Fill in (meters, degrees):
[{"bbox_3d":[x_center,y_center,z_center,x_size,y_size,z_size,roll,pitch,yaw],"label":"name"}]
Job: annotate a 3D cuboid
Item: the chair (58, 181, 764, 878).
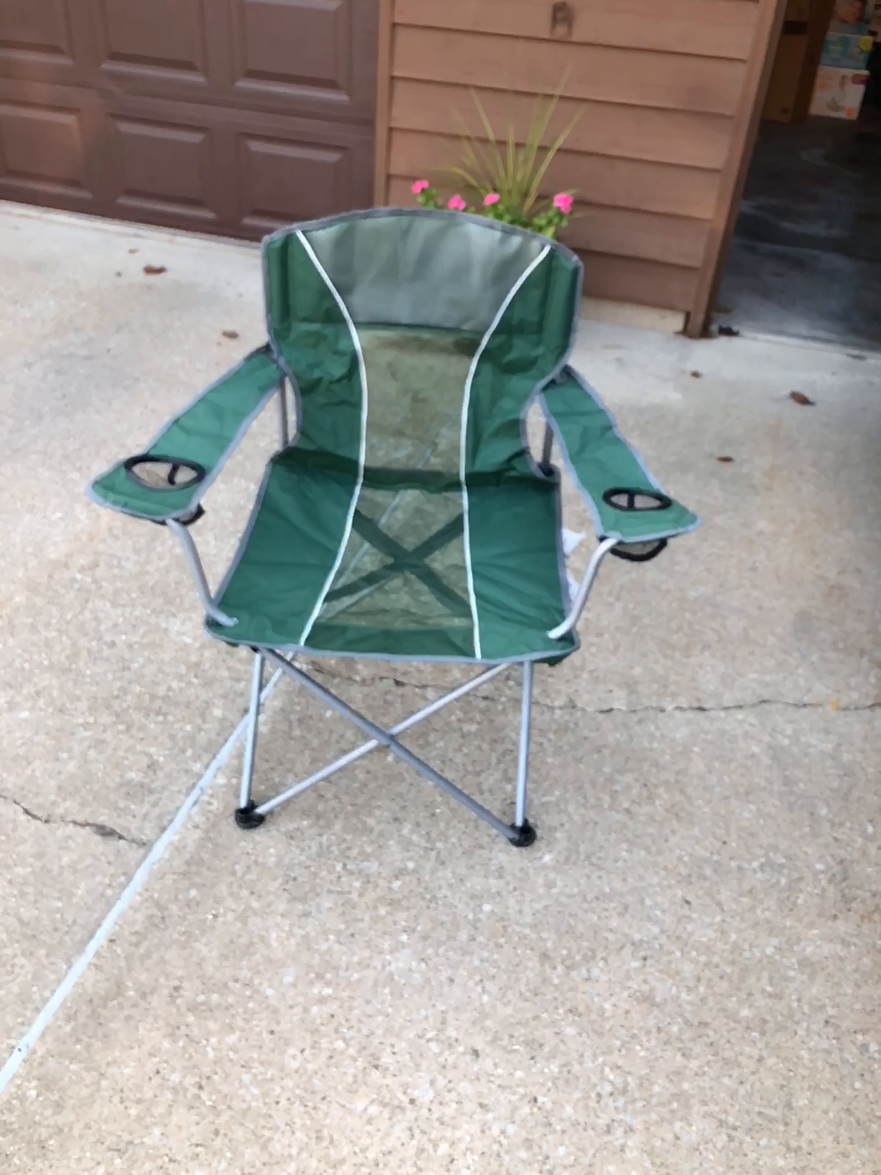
[{"bbox_3d":[-0.047,-0.101,1.660,0.820,0.908,0.642,5,35,0],"label":"chair"}]
